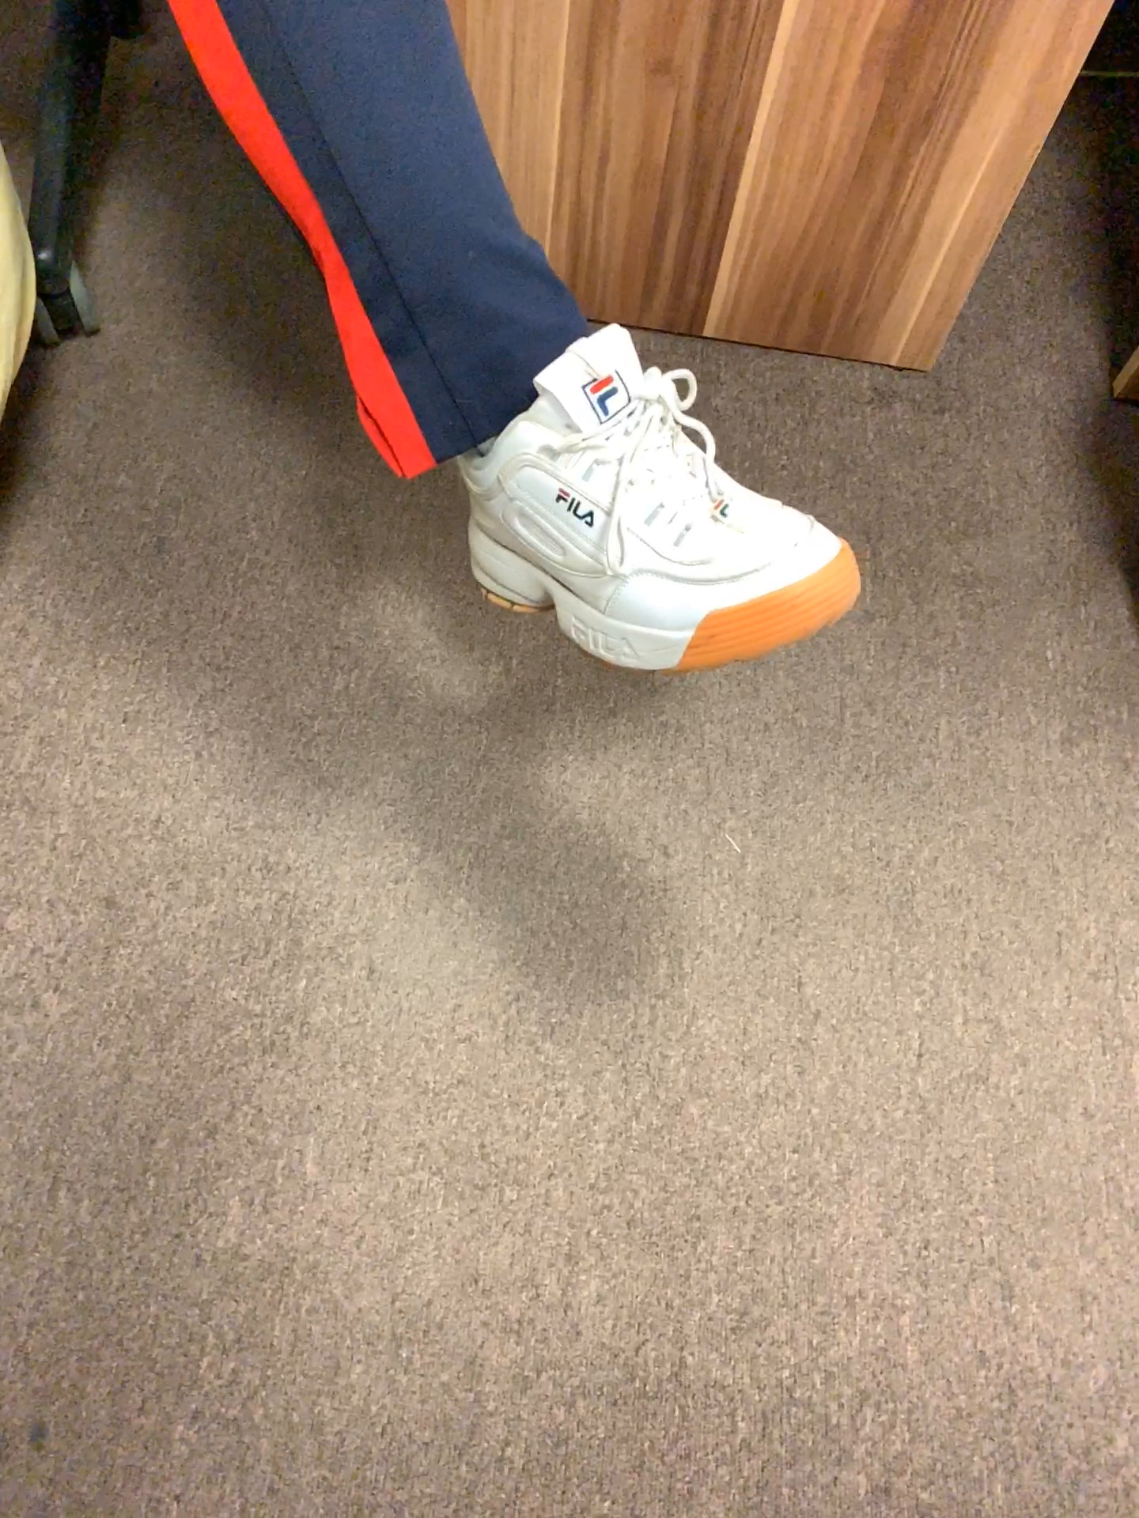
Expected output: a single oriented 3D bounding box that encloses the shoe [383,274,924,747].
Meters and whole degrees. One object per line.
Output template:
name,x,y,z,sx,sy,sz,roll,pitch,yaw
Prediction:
shoe,0.037,-0.138,0.594,0.130,0.130,0.230,-35,50,-28
